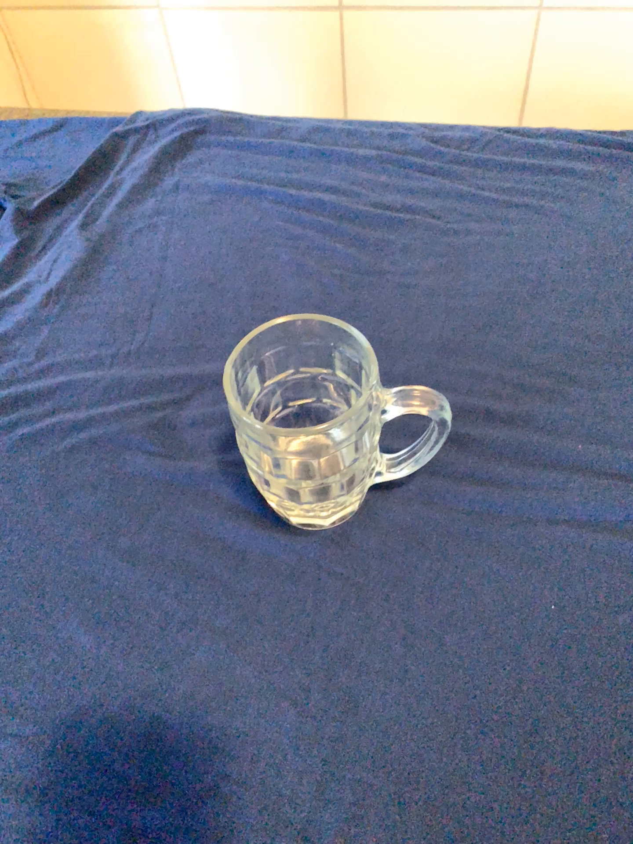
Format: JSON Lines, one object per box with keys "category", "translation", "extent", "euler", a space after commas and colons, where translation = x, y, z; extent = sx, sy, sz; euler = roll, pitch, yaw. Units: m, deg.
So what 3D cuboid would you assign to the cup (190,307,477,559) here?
{"category": "cup", "translation": [0.012, 0.009, 0.340], "extent": [0.120, 0.110, 0.080], "euler": [0, 53, 6]}
